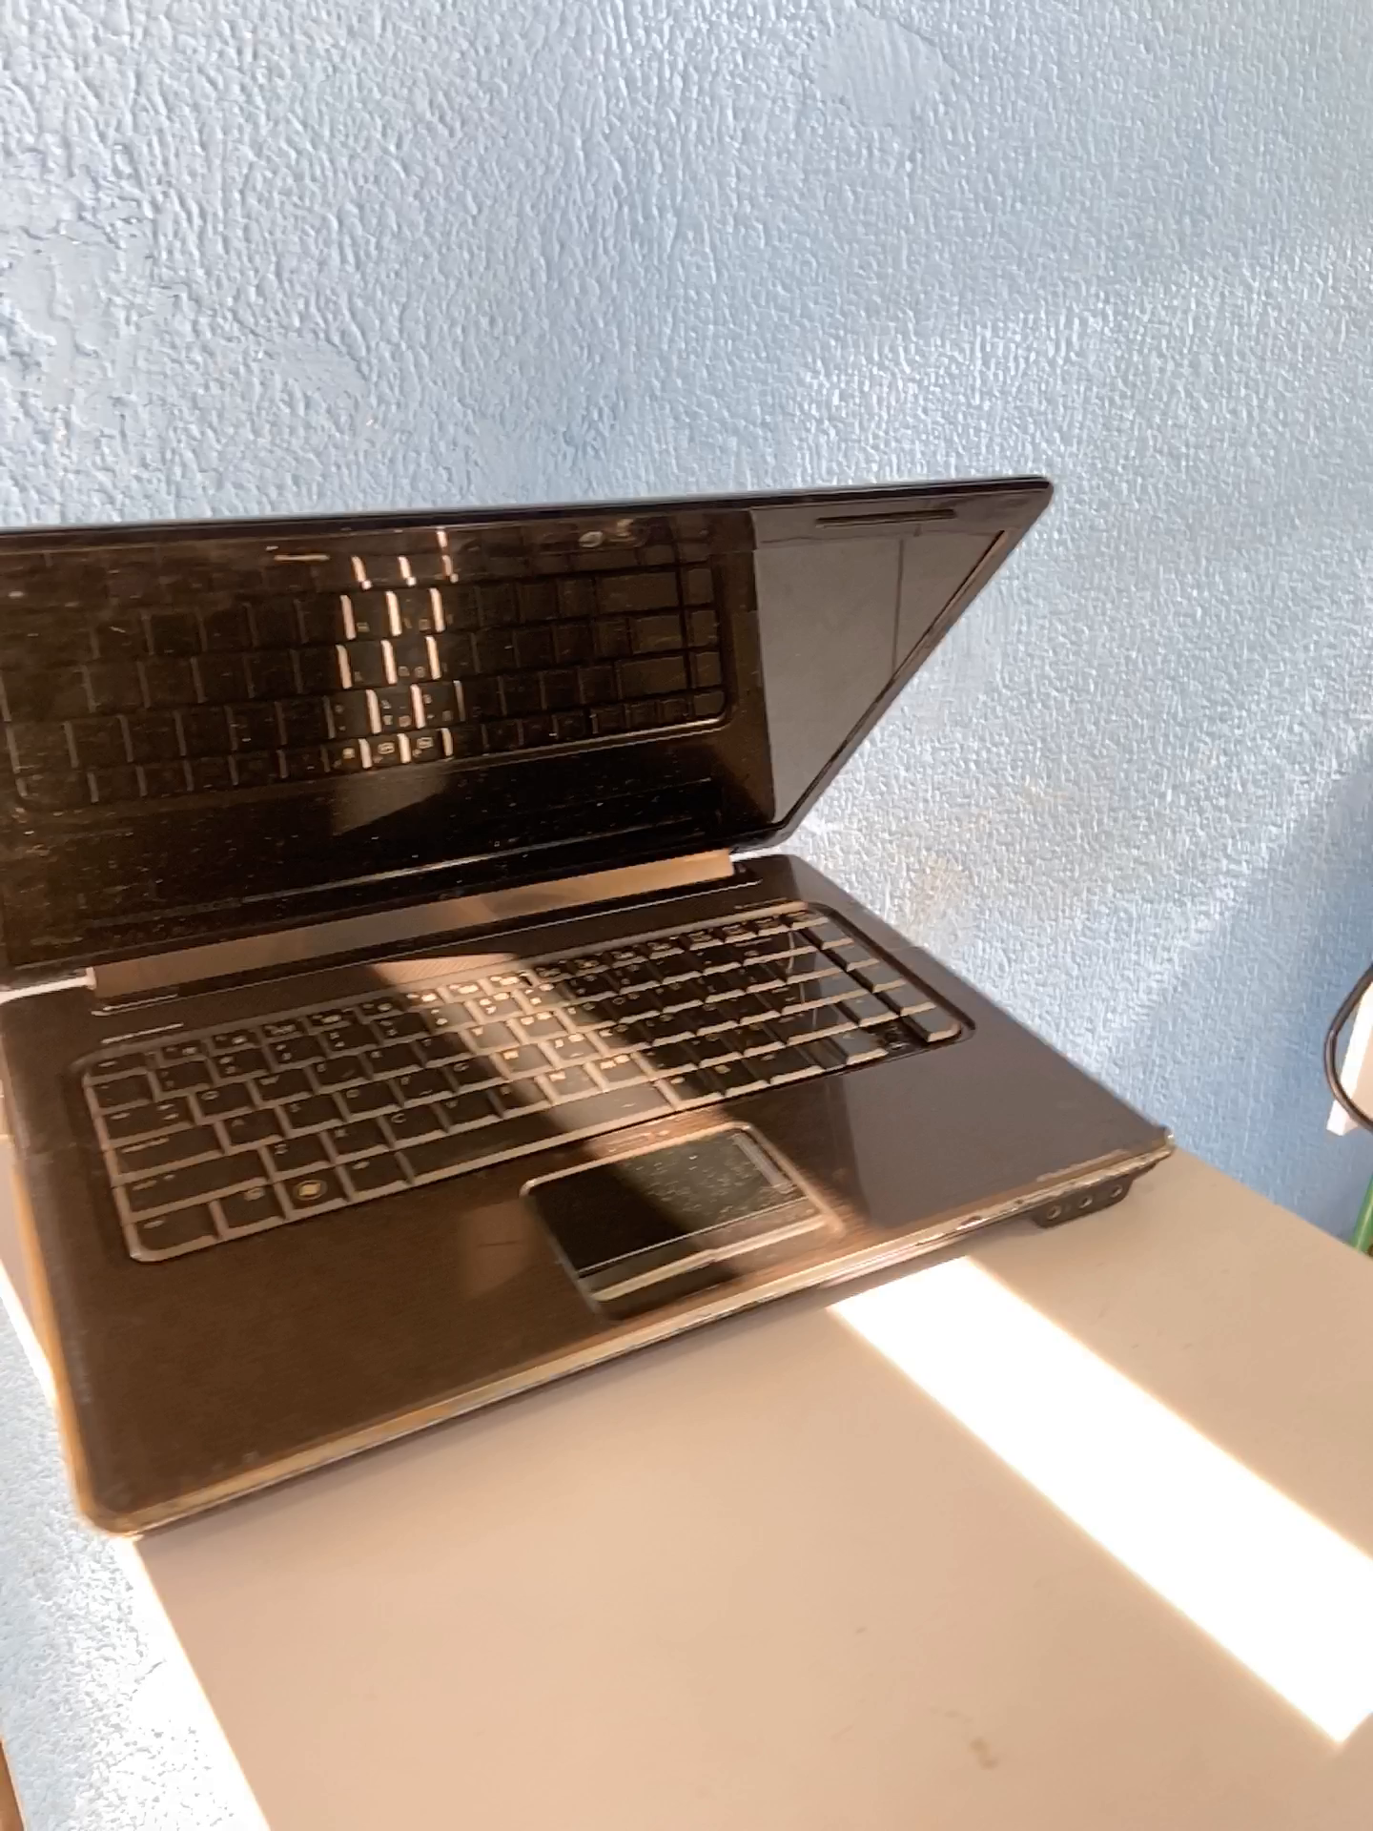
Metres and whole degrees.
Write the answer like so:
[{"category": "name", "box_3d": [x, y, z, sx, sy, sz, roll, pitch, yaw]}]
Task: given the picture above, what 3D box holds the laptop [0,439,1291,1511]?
[{"category": "laptop", "box_3d": [-0.039, -0.031, 0.462, 0.344, 0.190, 0.245, -11, 29, -26]}]
